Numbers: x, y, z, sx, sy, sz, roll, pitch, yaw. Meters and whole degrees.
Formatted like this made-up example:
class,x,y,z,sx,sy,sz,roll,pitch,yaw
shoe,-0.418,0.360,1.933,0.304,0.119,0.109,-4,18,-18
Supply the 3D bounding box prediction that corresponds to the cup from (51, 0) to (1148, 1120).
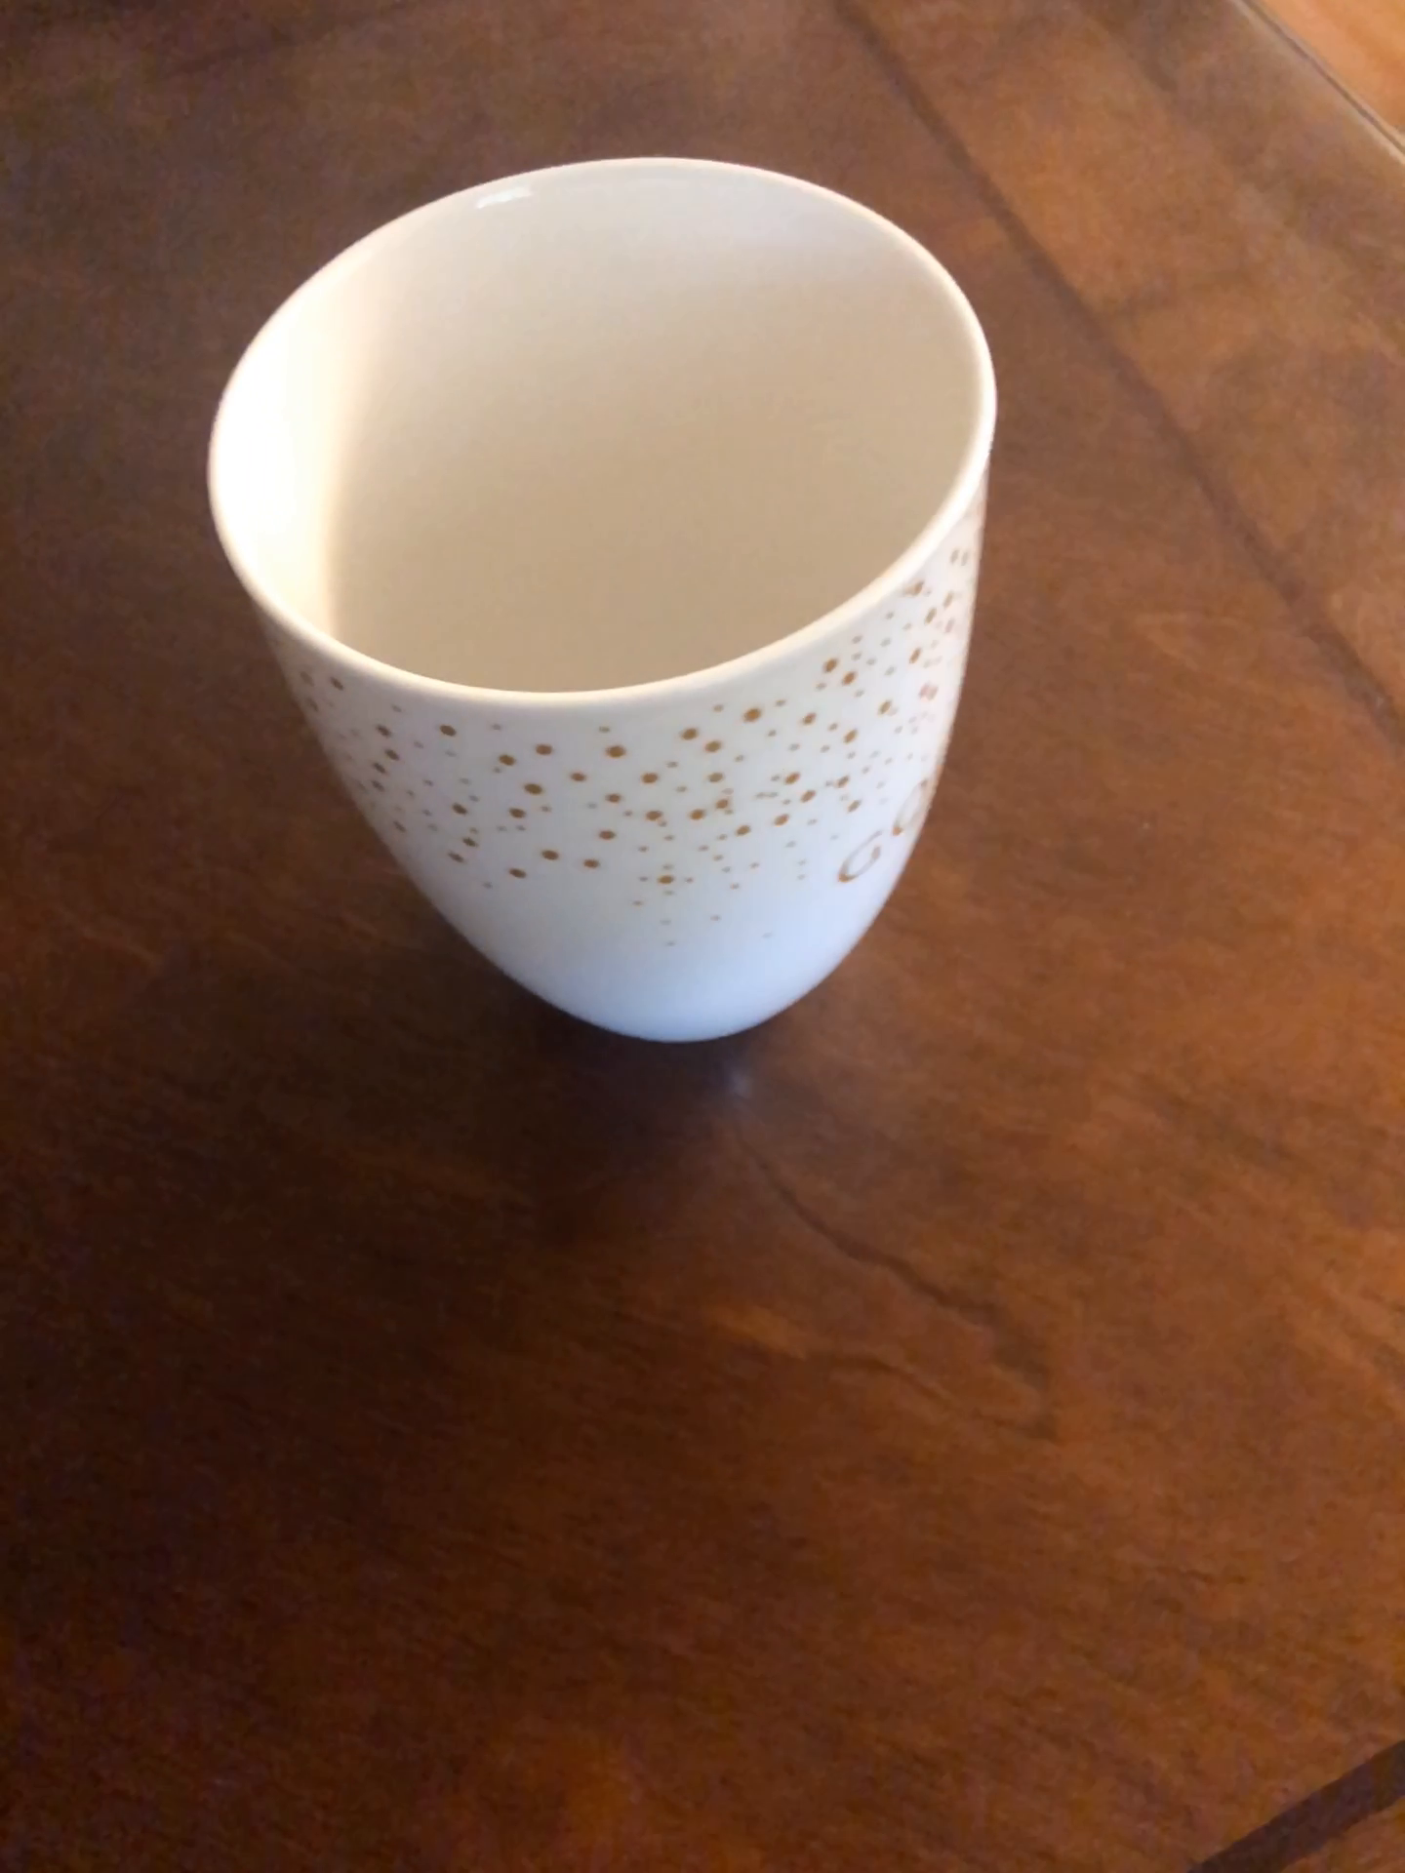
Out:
class,x,y,z,sx,sy,sz,roll,pitch,yaw
cup,-0.001,-0.067,0.241,0.100,0.100,0.141,13,60,12
